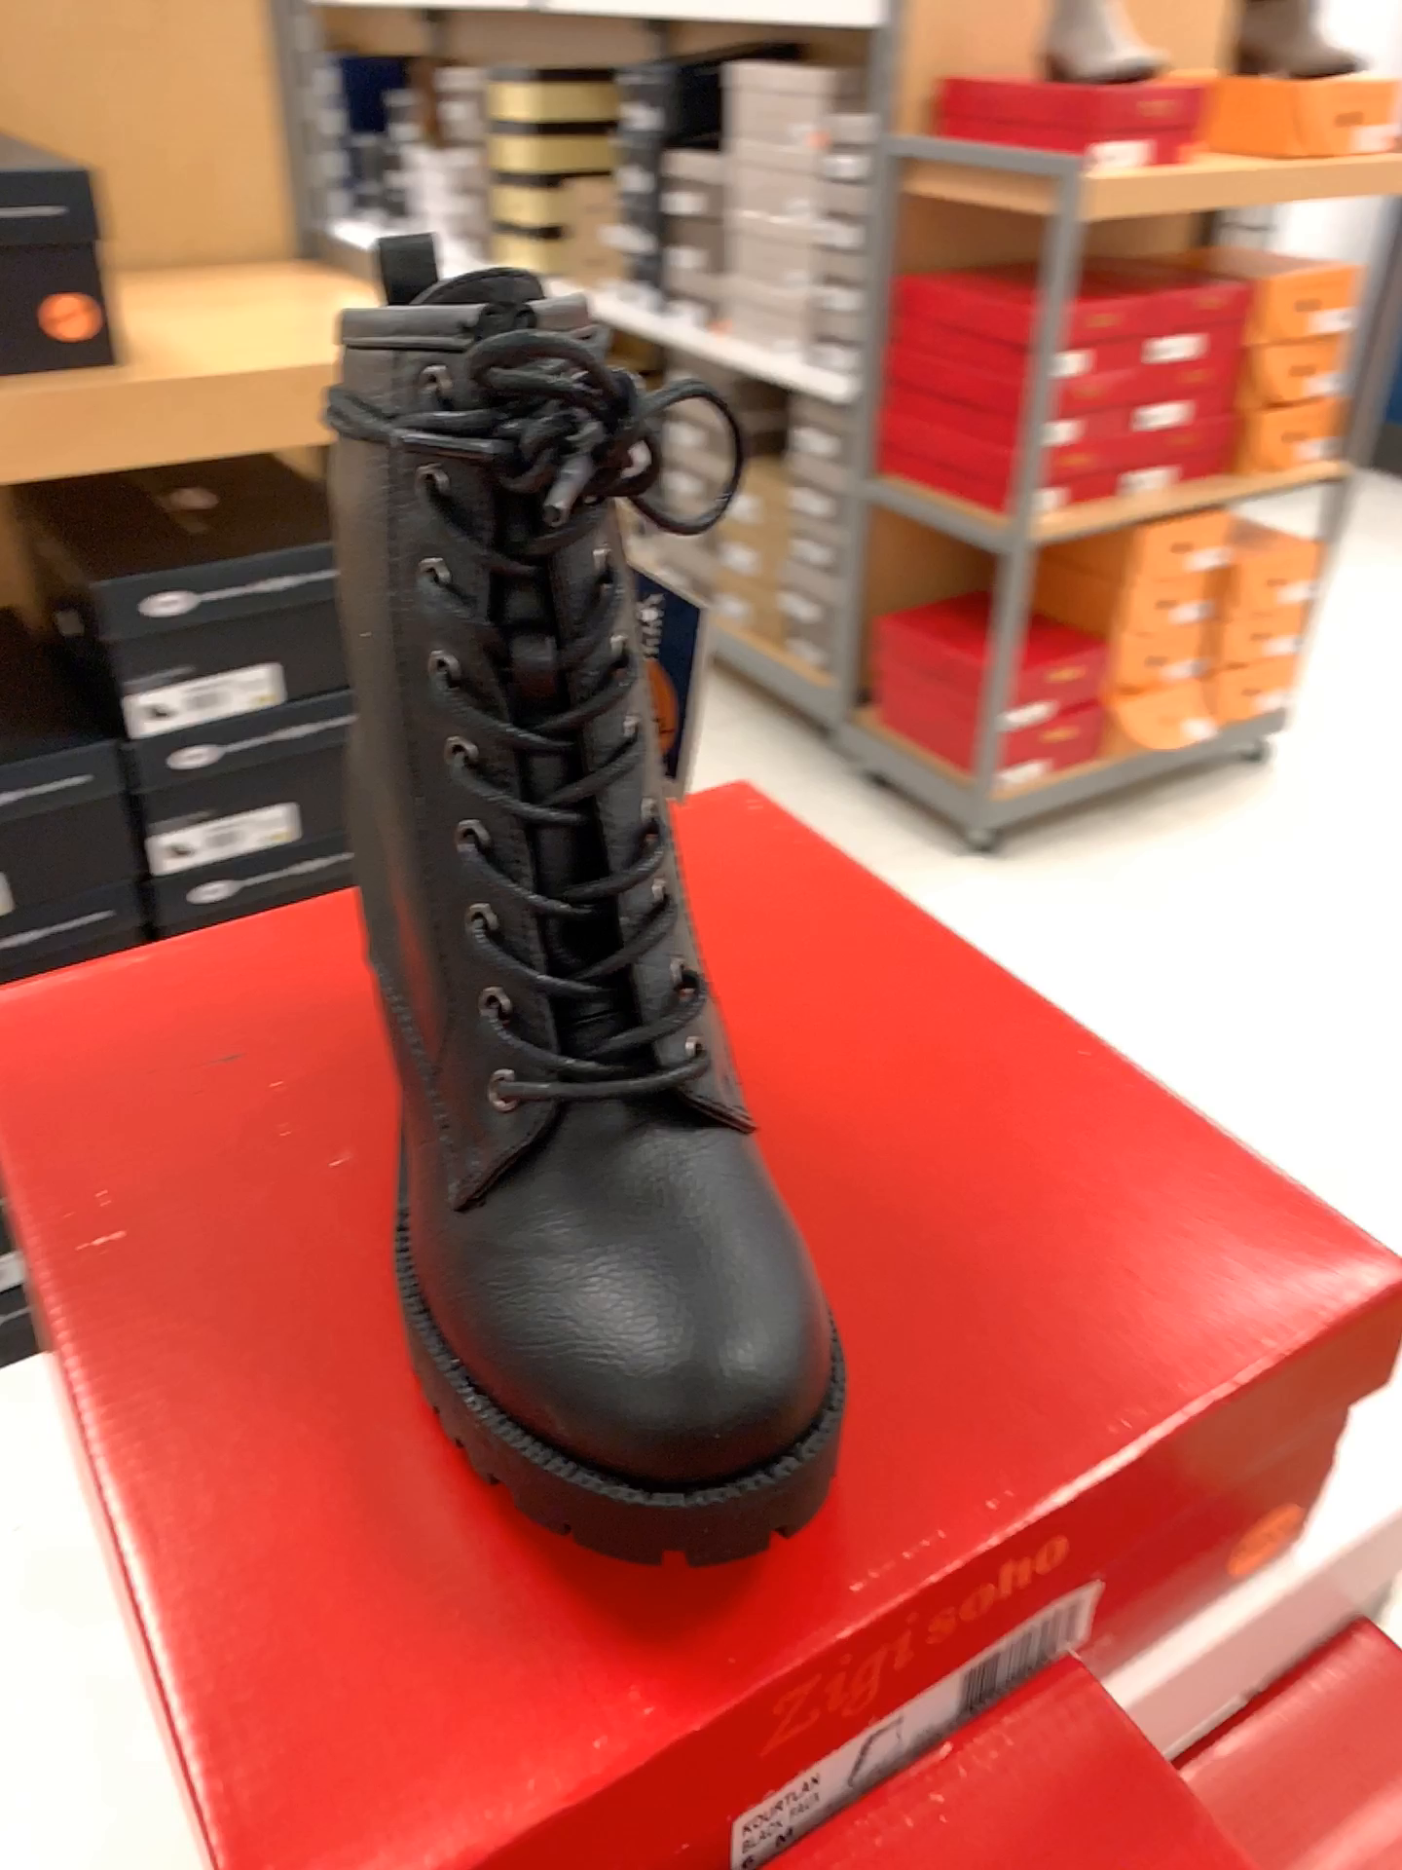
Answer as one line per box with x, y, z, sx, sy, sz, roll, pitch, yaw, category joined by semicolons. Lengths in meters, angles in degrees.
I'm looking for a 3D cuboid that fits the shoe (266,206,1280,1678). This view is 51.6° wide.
-0.013;-0.018;0.287;0.092;0.203;0.202;-10;35;-18;shoe
